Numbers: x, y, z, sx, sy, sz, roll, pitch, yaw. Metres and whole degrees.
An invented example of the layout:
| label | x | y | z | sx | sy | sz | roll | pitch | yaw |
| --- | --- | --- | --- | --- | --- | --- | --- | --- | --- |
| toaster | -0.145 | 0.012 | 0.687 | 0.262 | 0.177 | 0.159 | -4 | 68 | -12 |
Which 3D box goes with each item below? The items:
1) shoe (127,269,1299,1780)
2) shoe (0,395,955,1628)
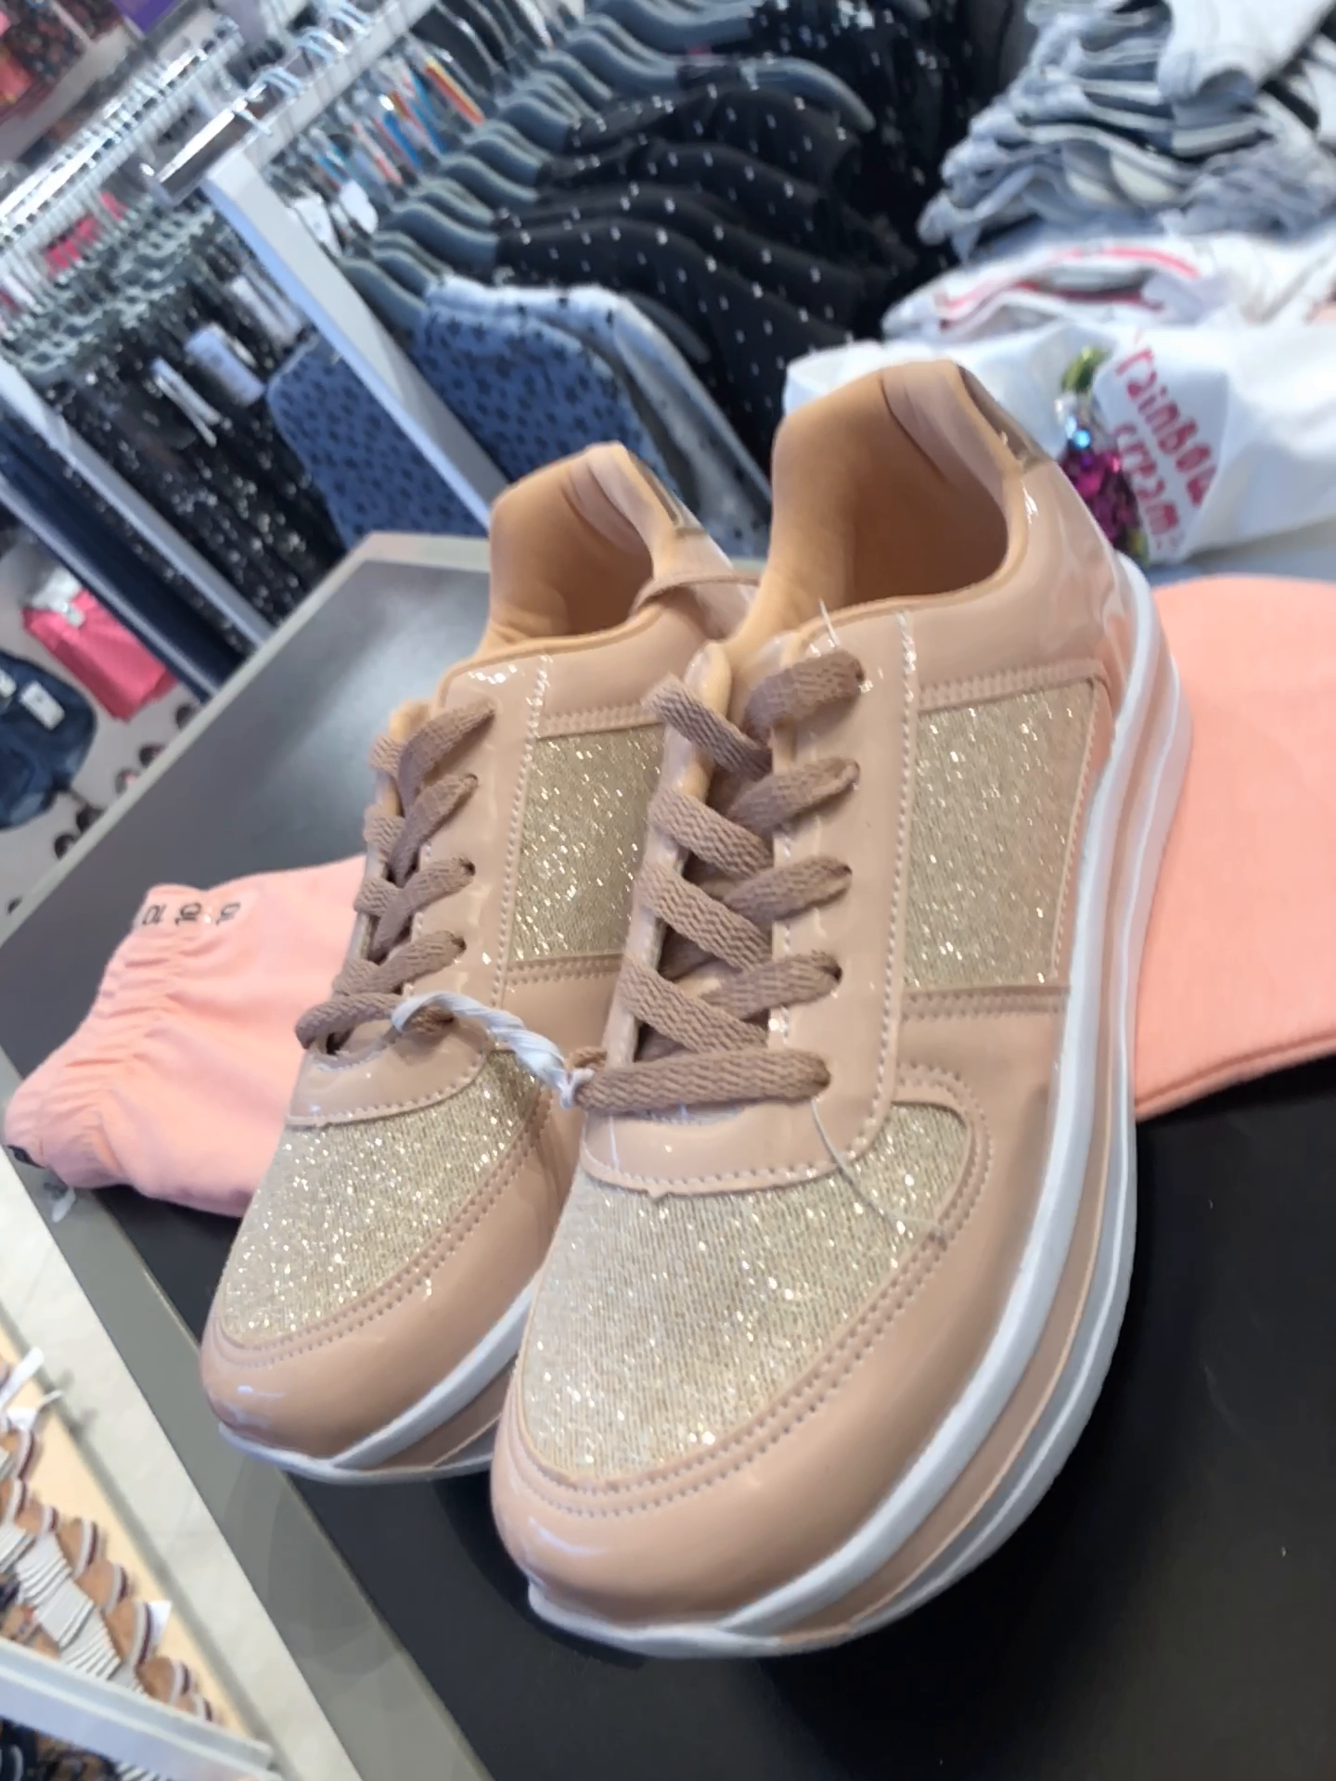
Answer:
| label | x | y | z | sx | sy | sz | roll | pitch | yaw |
| --- | --- | --- | --- | --- | --- | --- | --- | --- | --- |
| shoe | 0.027 | 0.014 | 0.247 | 0.090 | 0.089 | 0.220 | -5 | 49 | 42 |
| shoe | -0.030 | 0.015 | 0.318 | 0.090 | 0.099 | 0.220 | -5 | 49 | 42 |
